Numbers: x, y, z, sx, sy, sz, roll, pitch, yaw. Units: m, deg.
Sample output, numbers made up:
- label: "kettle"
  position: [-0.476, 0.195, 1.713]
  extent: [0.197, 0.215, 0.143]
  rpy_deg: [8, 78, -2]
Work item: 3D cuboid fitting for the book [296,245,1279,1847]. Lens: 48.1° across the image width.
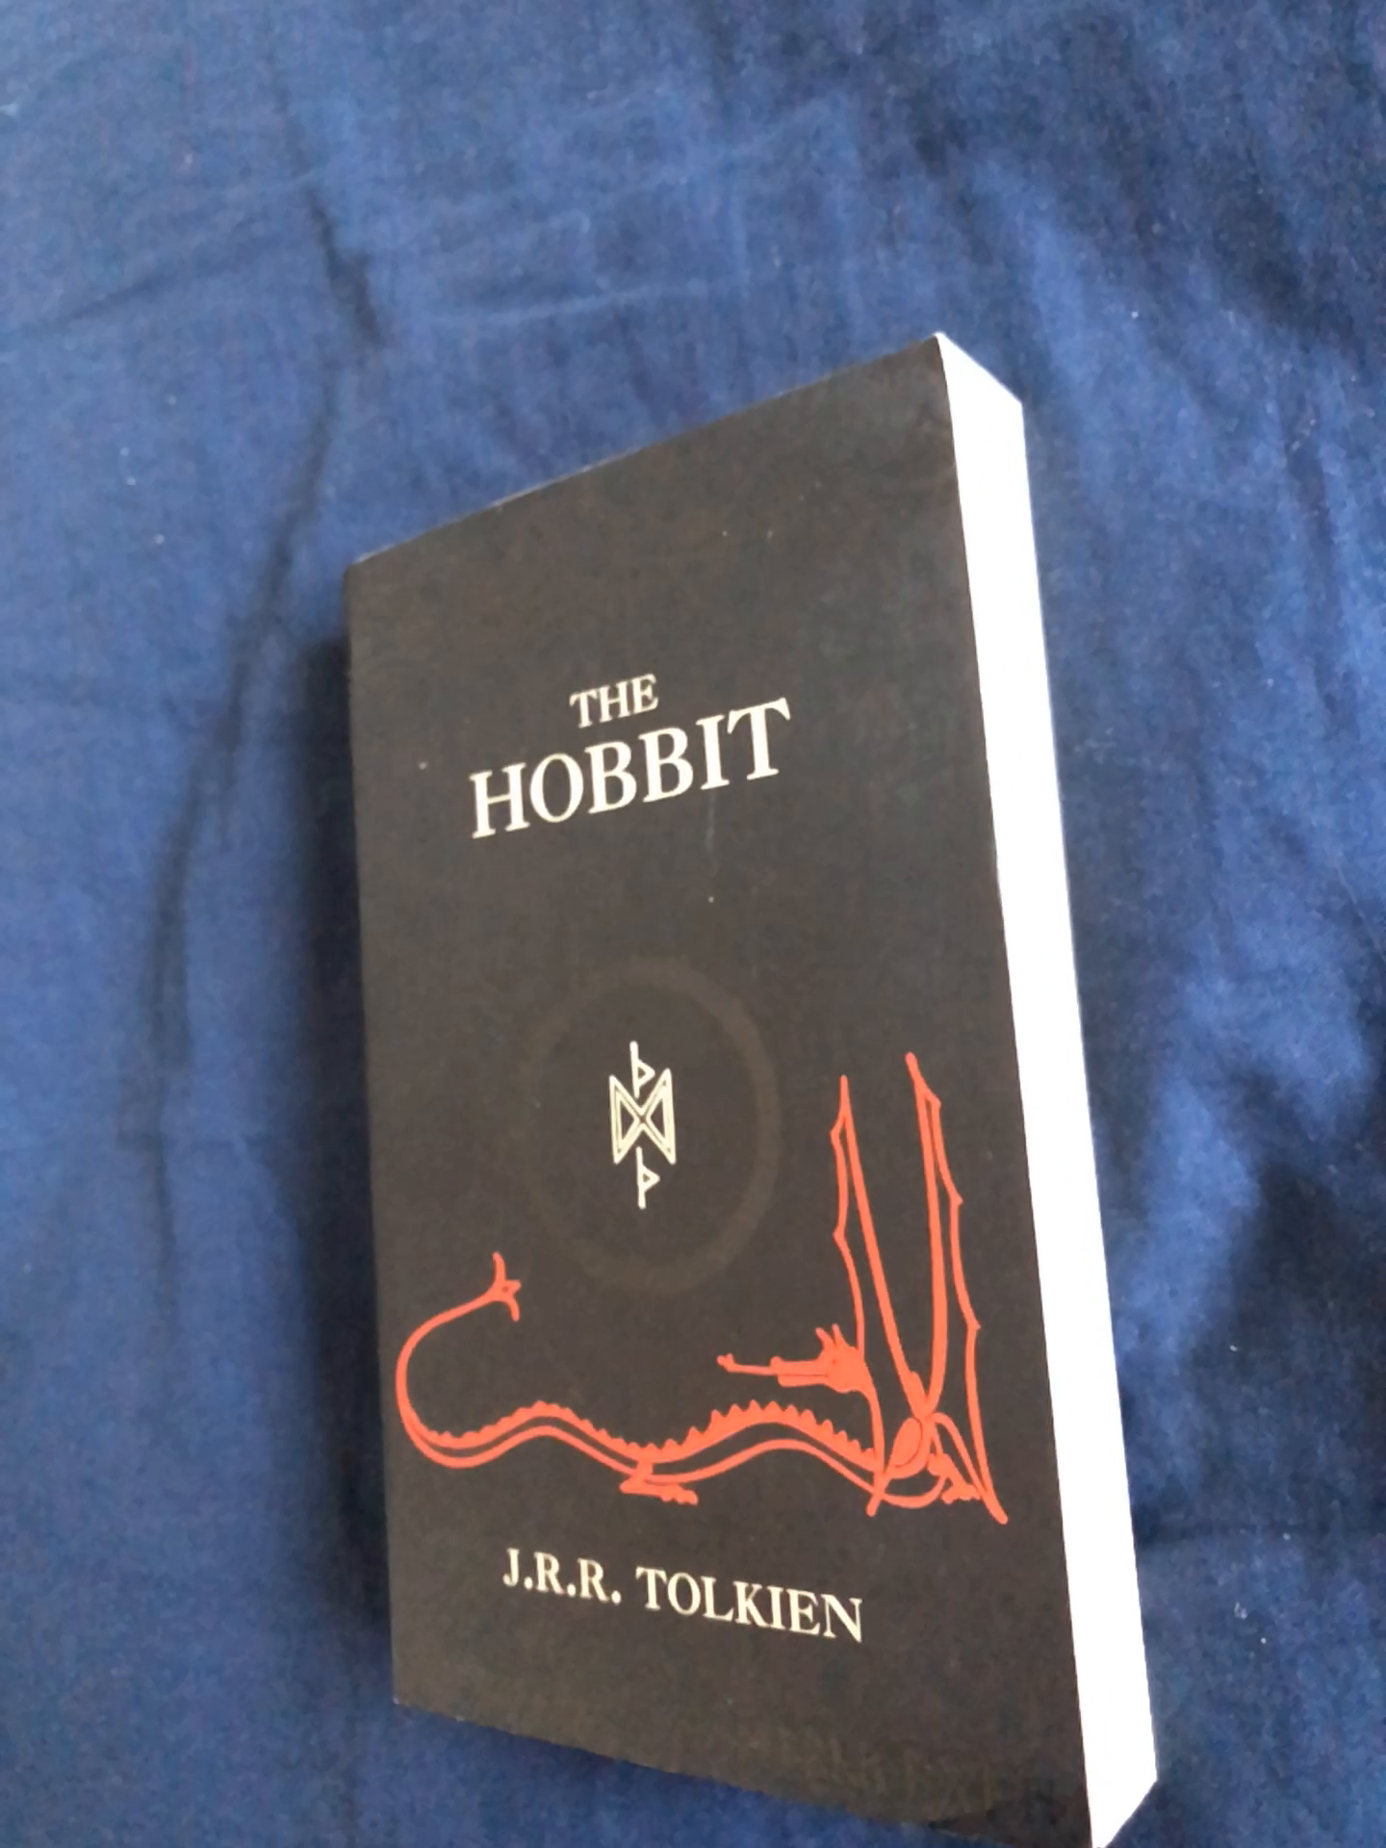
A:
- label: "book"
  position: [0.004, 0.021, 0.214]
  extent: [0.120, 0.040, 0.180]
  rpy_deg: [-9, 81, 34]
